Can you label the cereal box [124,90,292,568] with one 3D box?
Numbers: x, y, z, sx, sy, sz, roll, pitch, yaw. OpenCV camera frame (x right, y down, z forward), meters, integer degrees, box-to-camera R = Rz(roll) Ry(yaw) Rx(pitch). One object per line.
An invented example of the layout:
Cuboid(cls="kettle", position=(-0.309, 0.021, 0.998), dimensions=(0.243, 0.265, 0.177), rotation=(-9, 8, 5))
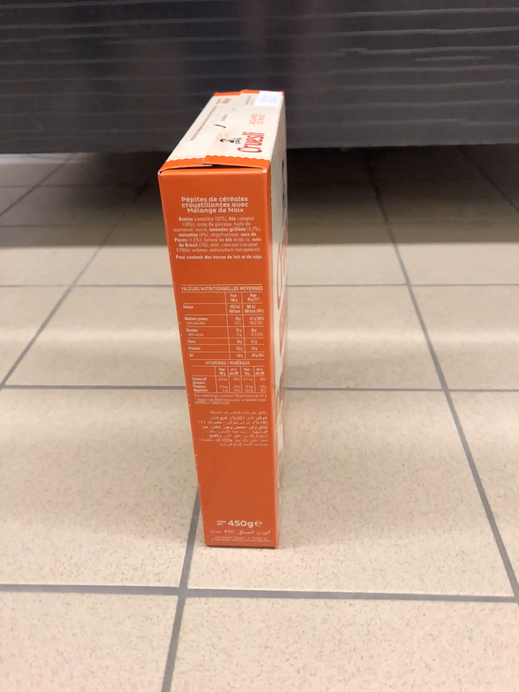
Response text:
Cuboid(cls="cereal box", position=(-0.013, -0.020, 0.384), dimensions=(0.060, 0.249, 0.201), rotation=(1, 32, 5))
